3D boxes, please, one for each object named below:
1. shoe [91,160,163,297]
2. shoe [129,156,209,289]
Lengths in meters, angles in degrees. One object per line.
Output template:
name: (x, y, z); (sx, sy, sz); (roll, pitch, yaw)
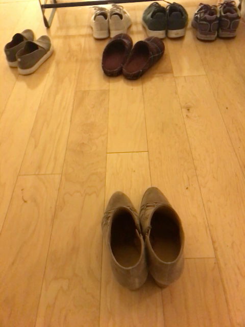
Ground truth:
shoe: (0.001, 0.129, 0.566); (0.110, 0.109, 0.252); (-7, 51, -2)
shoe: (0.084, 0.119, 0.577); (0.110, 0.109, 0.252); (-6, 51, -2)
